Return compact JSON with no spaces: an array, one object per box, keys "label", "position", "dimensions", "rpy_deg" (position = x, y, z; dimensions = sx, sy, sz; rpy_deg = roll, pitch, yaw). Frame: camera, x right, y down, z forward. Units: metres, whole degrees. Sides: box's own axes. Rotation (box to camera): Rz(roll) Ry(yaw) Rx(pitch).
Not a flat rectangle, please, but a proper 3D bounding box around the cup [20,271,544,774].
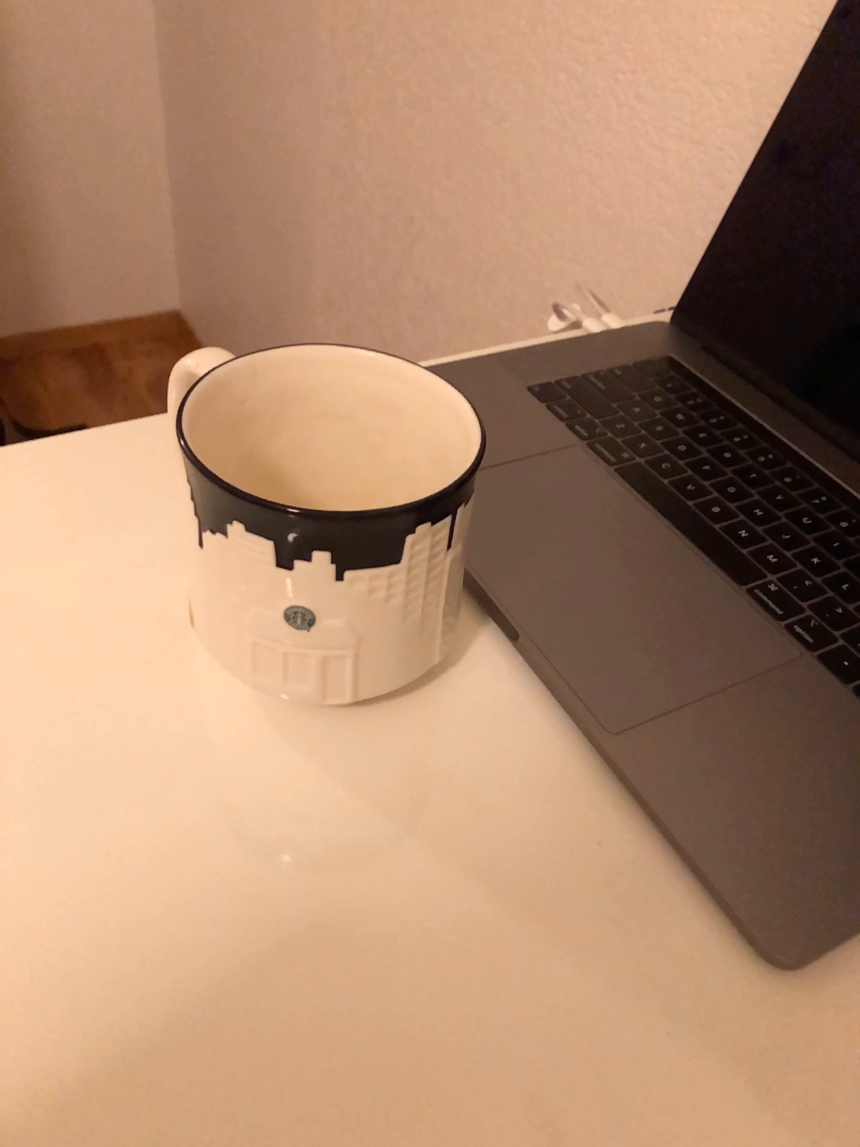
[{"label":"cup","position":[-0.056,-0.029,0.367],"dimensions":[0.150,0.099,0.110],"rpy_deg":[33,48,26]}]
